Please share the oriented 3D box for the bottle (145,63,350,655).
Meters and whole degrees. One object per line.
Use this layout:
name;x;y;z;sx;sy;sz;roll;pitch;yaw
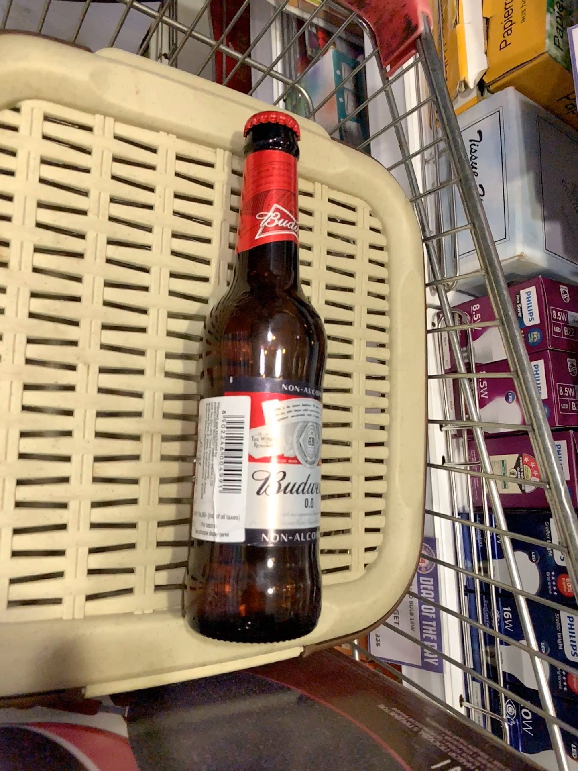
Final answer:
bottle;-0.016;-0.011;0.261;0.060;0.060;0.220;7;82;-50
